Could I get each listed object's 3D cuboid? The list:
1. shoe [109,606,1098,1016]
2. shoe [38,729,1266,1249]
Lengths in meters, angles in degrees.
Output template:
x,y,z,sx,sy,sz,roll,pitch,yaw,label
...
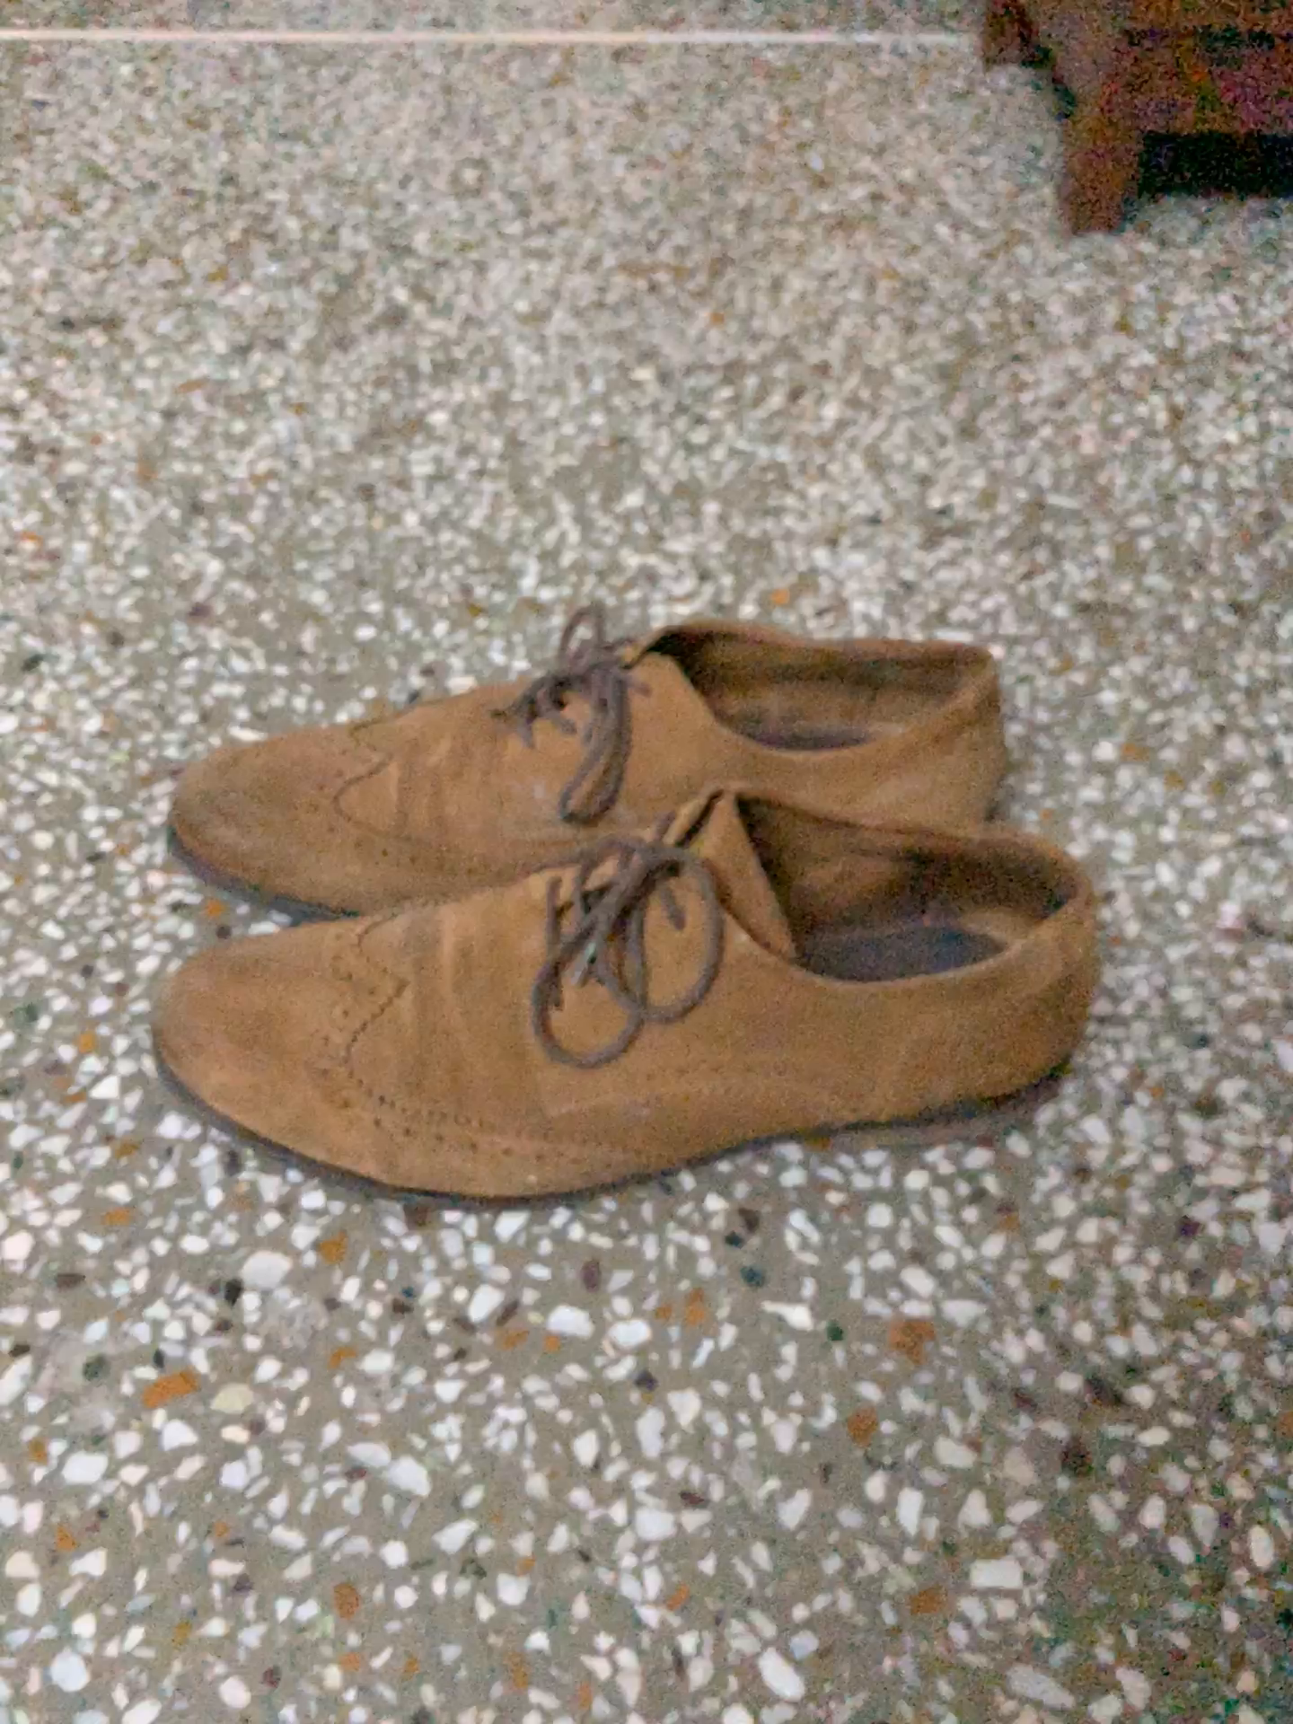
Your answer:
x,y,z,sx,sy,sz,roll,pitch,yaw,label
-0.014,-0.018,0.495,0.310,0.110,0.100,-1,51,-1,shoe
0.001,0.040,0.412,0.310,0.110,0.100,-2,51,-3,shoe
